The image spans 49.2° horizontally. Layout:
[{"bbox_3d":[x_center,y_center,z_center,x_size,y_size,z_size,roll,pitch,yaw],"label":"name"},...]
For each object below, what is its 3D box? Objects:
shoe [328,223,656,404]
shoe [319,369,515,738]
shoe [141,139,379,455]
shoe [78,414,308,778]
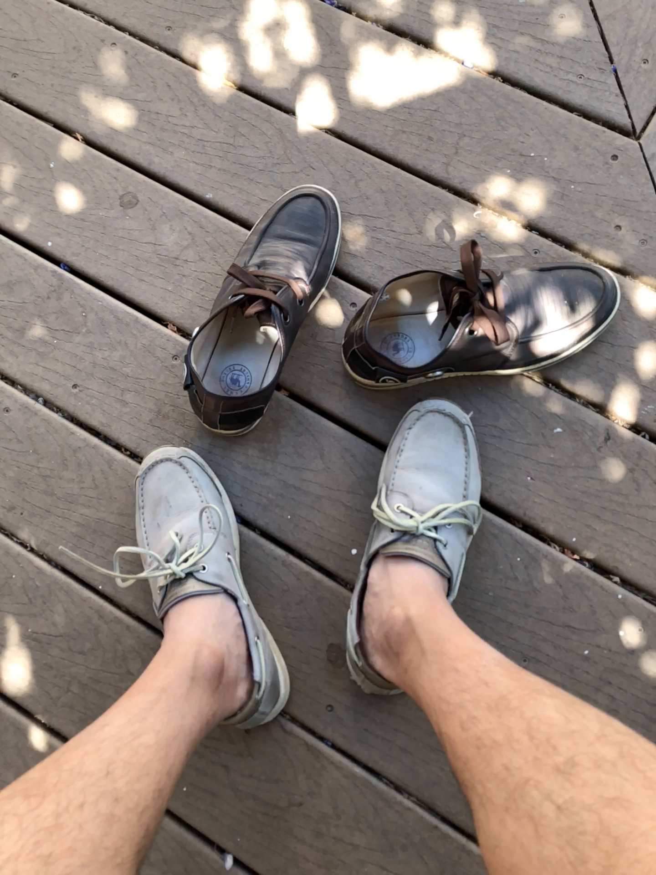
[{"bbox_3d":[0.148,-0.114,0.687,0.277,0.079,0.109,-9,81,5],"label":"shoe"},{"bbox_3d":[0.082,0.100,0.658,0.109,0.101,0.293,12,83,7],"label":"shoe"},{"bbox_3d":[-0.061,-0.134,0.705,0.109,0.069,0.278,26,87,8],"label":"shoe"},{"bbox_3d":[-0.123,0.139,0.669,0.109,0.086,0.292,-21,80,2],"label":"shoe"}]
